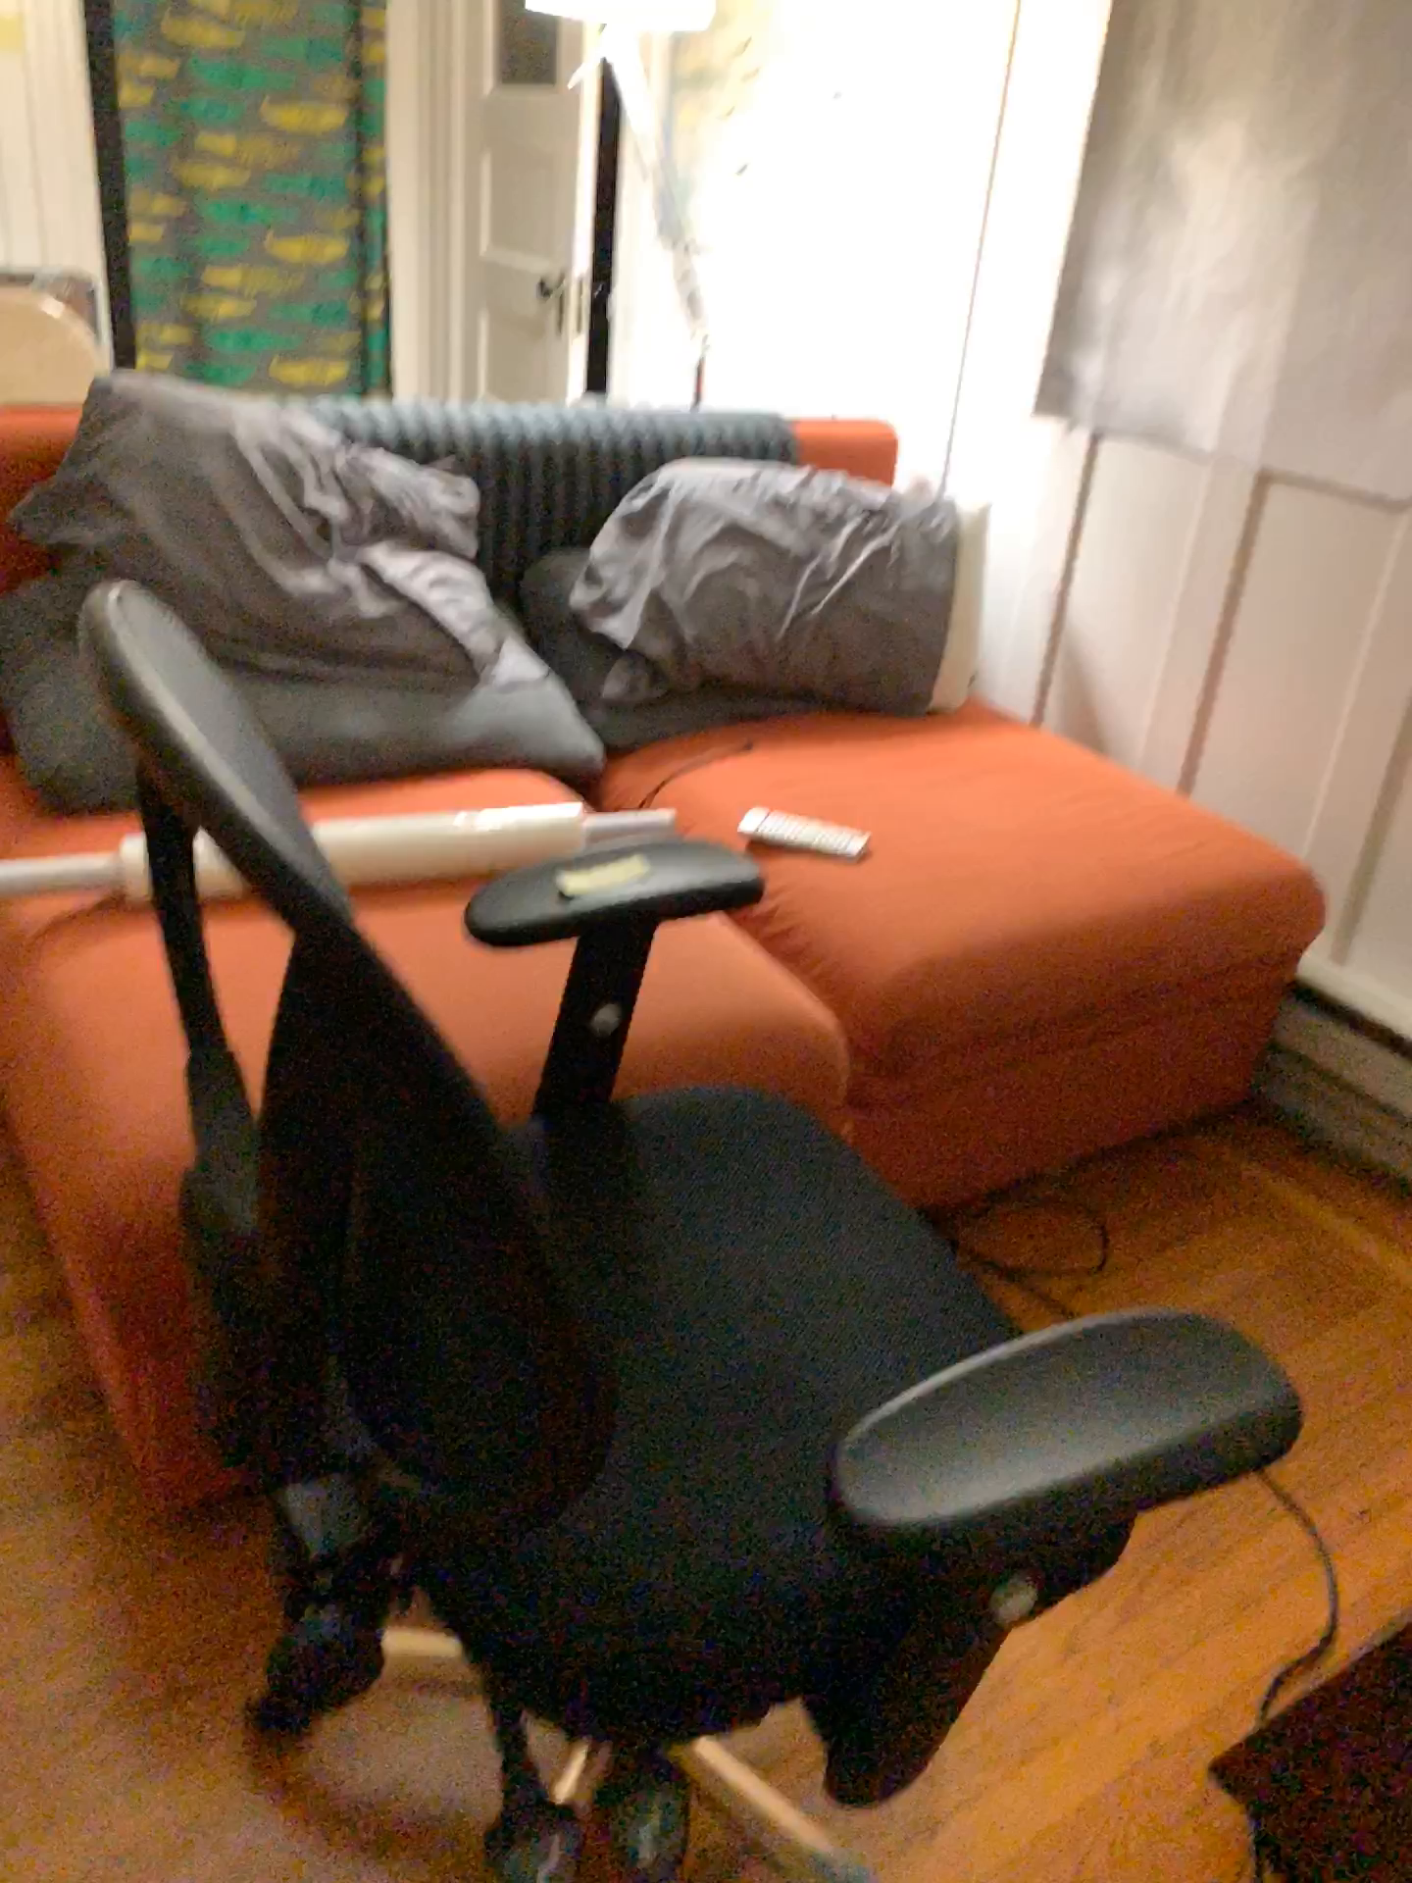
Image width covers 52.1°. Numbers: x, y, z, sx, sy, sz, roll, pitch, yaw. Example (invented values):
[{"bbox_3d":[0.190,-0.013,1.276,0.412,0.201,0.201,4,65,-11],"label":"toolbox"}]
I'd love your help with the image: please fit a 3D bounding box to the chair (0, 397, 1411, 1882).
[{"bbox_3d":[-0.074,0.216,0.971,0.660,0.974,0.644,-11,32,-21],"label":"chair"}]
